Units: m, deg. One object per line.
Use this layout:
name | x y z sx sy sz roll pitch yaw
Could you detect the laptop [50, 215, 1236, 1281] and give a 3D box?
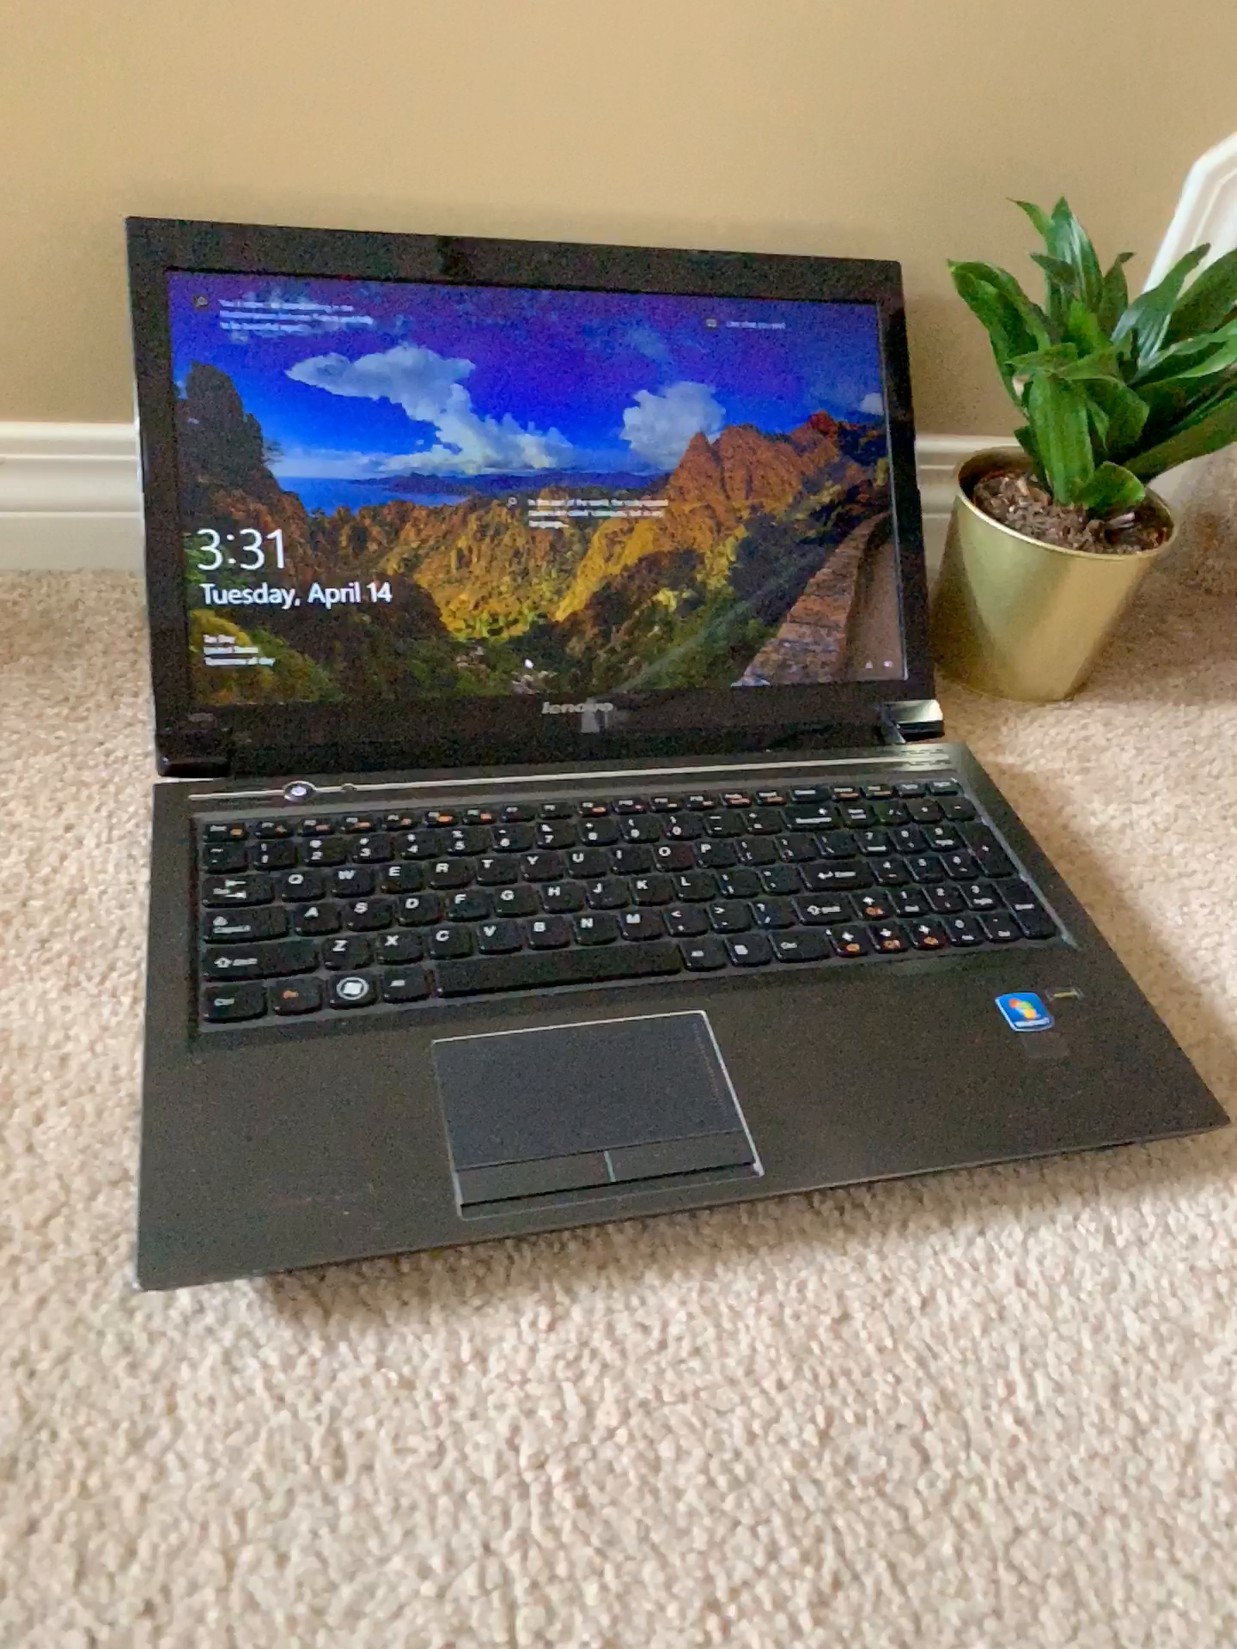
laptop | 0.001 -0.077 0.506 0.372 0.166 0.412 -4 42 -16
